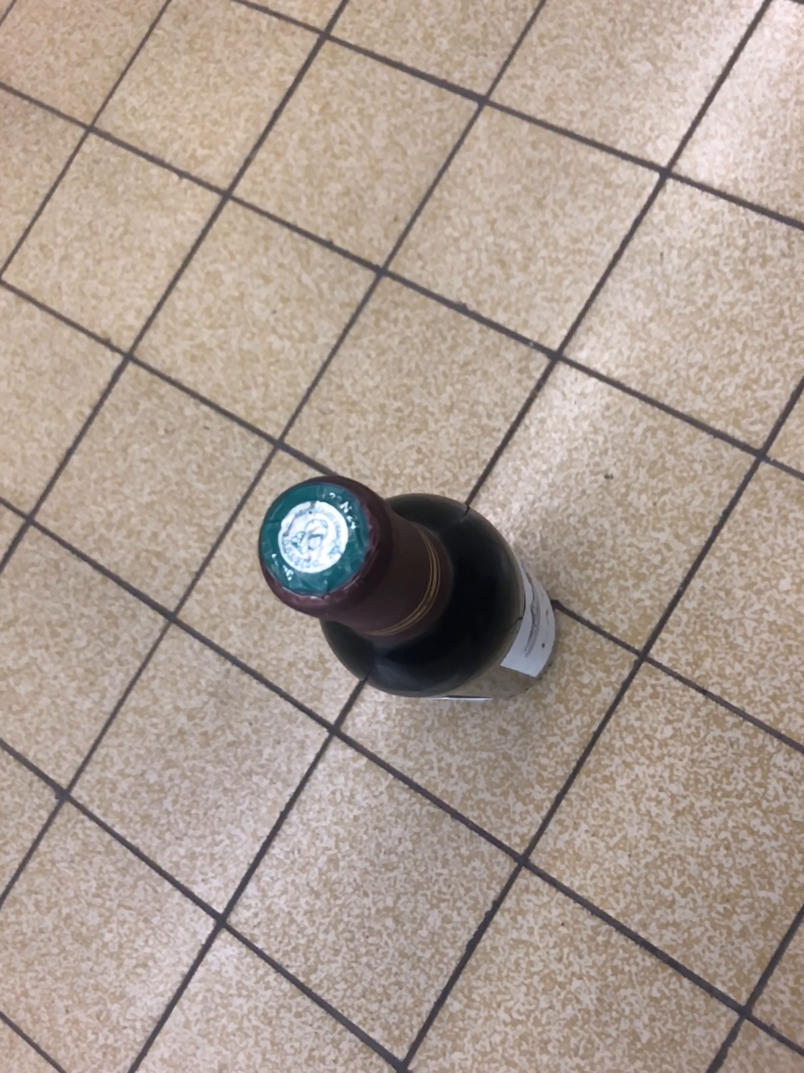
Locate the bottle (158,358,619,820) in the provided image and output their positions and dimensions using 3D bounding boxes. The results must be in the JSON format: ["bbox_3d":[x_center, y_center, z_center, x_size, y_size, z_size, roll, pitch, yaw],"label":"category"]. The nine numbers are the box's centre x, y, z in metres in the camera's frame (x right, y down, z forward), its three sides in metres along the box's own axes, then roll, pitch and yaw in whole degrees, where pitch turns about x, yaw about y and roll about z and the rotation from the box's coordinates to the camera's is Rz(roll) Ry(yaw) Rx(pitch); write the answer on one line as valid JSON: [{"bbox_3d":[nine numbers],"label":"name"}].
[{"bbox_3d":[0.020,0.028,0.282,0.060,0.220,0.070,-44,73,3],"label":"bottle"}]
